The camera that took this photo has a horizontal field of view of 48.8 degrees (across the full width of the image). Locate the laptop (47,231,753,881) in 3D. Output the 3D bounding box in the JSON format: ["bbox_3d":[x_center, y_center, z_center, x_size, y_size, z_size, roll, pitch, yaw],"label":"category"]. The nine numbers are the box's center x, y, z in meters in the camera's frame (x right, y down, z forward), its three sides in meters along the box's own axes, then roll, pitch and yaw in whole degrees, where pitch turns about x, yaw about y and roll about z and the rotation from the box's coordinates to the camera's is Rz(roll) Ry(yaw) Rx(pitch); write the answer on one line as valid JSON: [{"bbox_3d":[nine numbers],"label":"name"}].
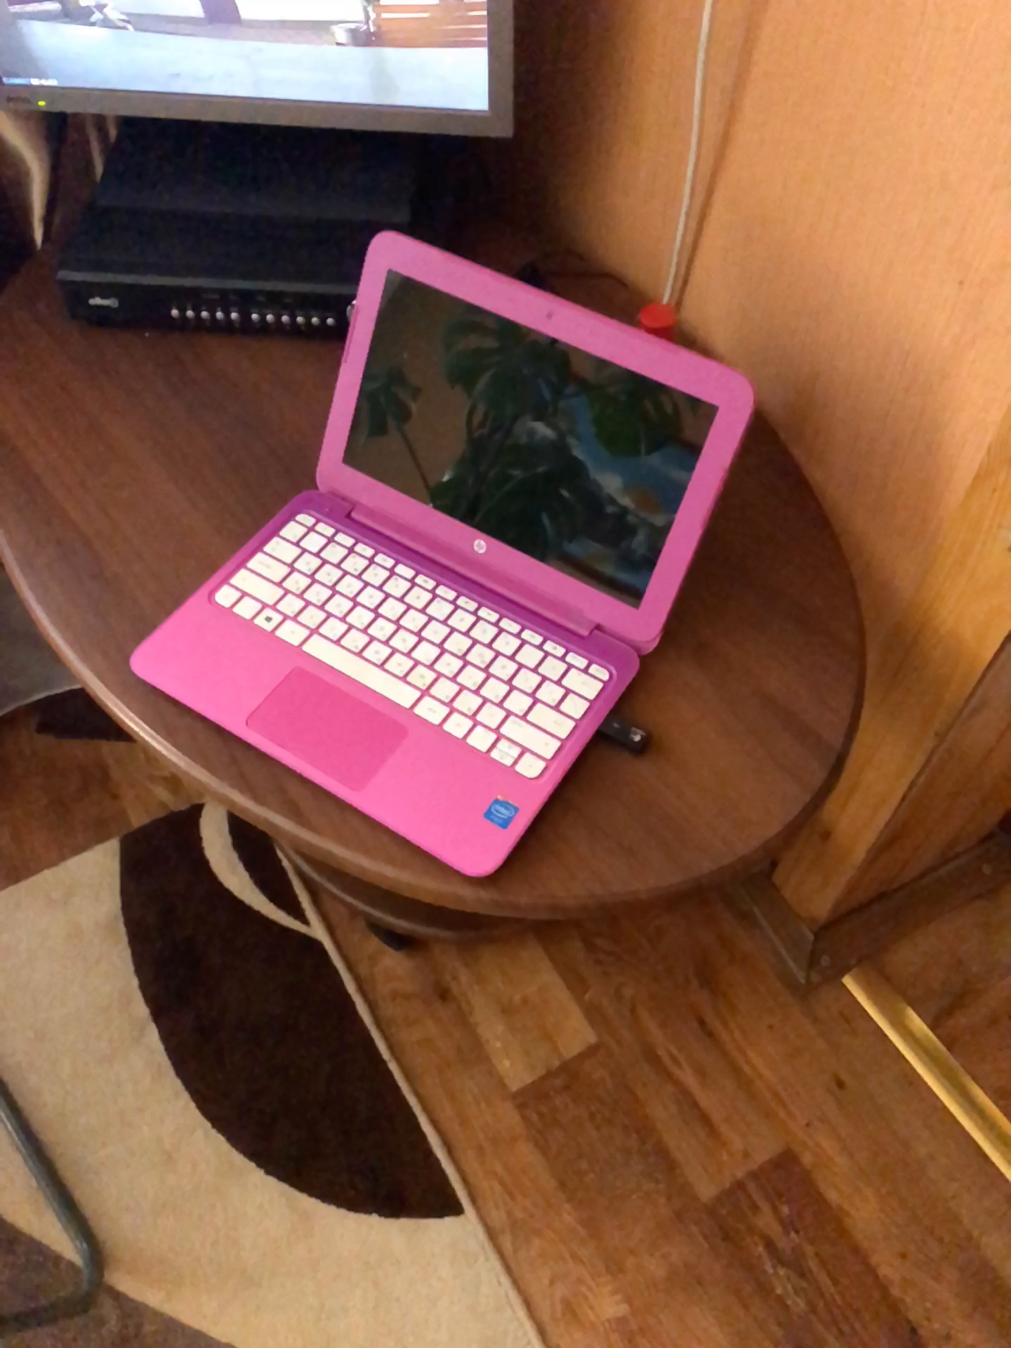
[{"bbox_3d":[-0.050,-0.089,0.690,0.279,0.150,0.296,28,59,18],"label":"laptop"}]
